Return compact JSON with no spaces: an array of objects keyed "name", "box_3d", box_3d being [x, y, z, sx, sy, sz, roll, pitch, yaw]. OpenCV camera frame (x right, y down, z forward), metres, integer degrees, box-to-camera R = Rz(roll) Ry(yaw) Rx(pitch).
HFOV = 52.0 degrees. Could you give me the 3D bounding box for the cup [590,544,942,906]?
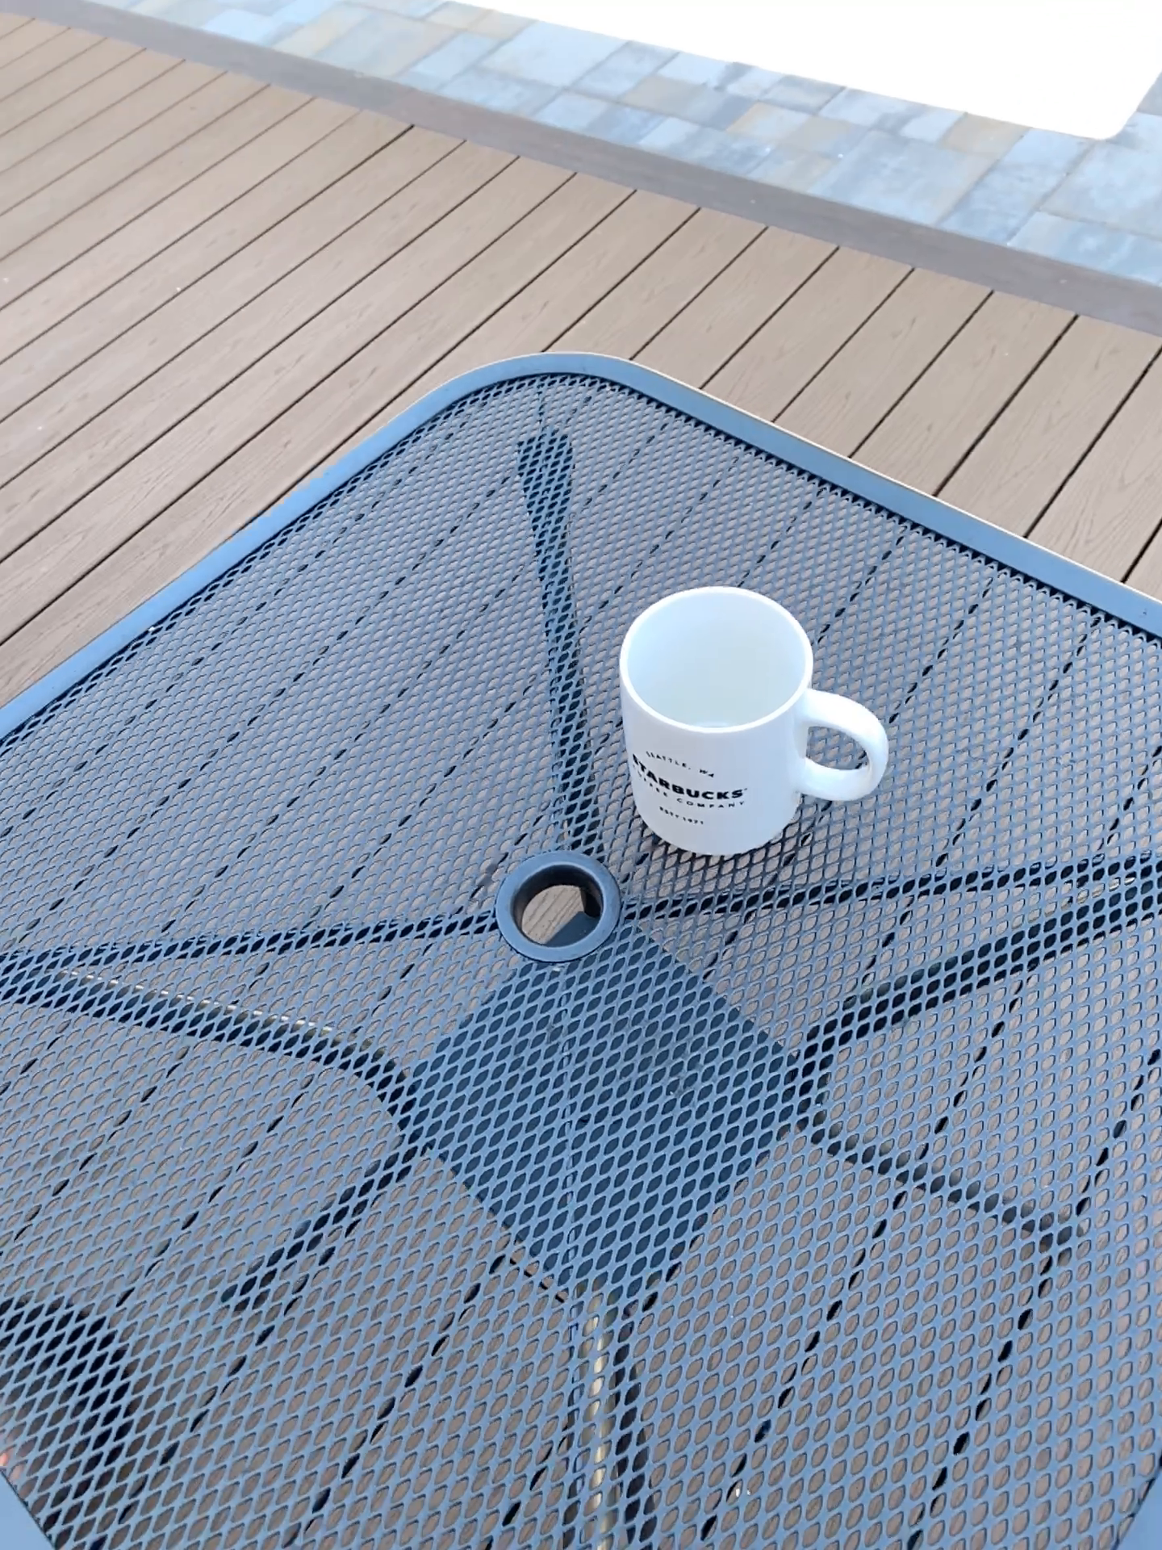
[{"name":"cup","box_3d":[0.088,-0.024,0.569,0.130,0.110,0.100,15,59,17]}]
